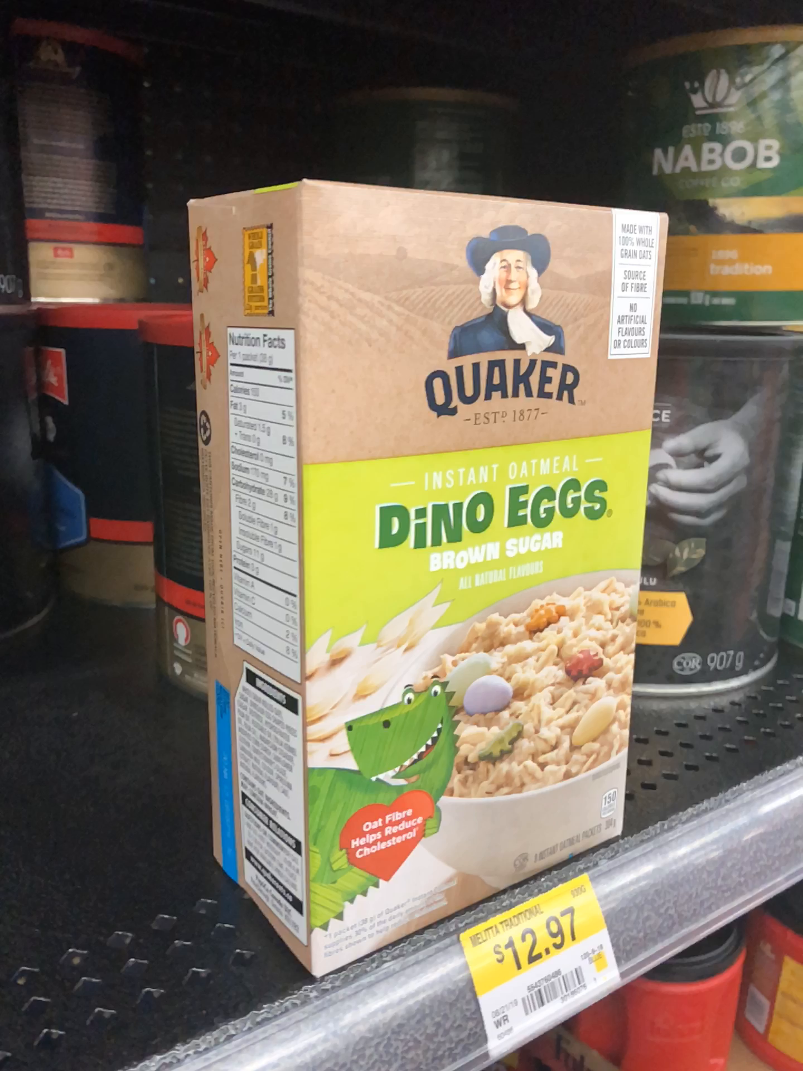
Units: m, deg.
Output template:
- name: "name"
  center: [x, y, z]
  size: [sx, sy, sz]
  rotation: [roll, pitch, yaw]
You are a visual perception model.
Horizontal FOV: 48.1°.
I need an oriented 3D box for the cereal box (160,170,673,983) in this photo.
- name: "cereal box"
  center: [0.007, 0.004, 0.278]
  size: [0.130, 0.200, 0.070]
  rotation: [-9, 16, -35]
